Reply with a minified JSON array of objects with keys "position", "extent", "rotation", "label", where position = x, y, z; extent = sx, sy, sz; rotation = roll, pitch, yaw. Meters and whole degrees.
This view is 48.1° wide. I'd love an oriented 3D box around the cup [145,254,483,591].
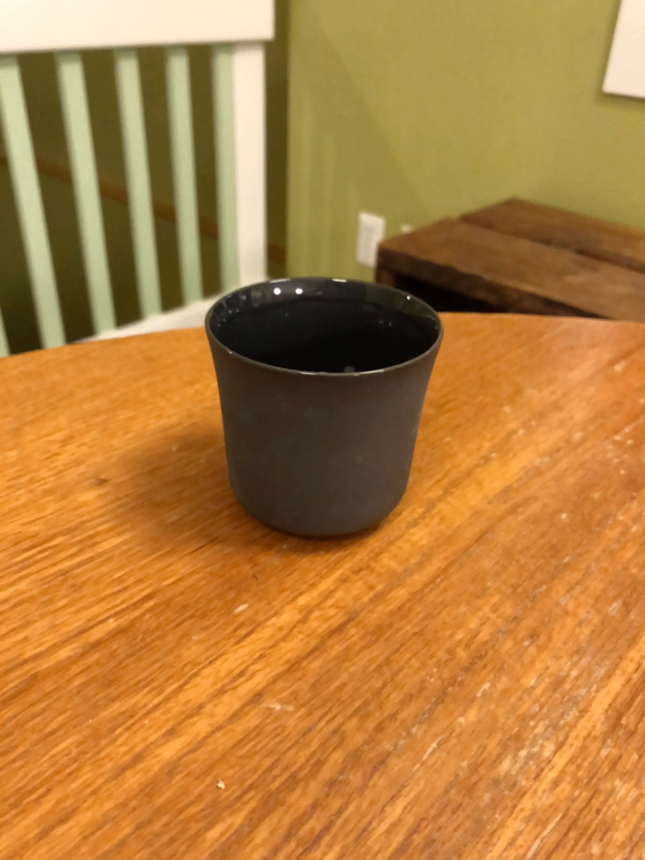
[{"position":[-0.002,-0.009,0.247],"extent":[0.079,0.068,0.075],"rotation":[2,32,-1],"label":"cup"}]
